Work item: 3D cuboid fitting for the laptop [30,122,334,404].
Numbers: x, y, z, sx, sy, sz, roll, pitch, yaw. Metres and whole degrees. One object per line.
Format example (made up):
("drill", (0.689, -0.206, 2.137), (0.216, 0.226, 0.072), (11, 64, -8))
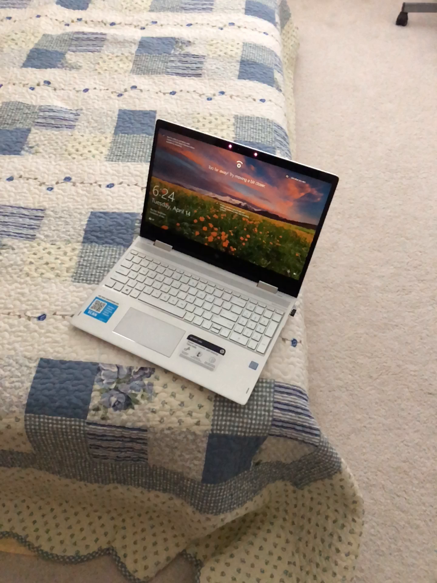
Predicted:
("laptop", (-0.040, -0.066, 0.852), (0.355, 0.208, 0.358), (22, 57, 14))
